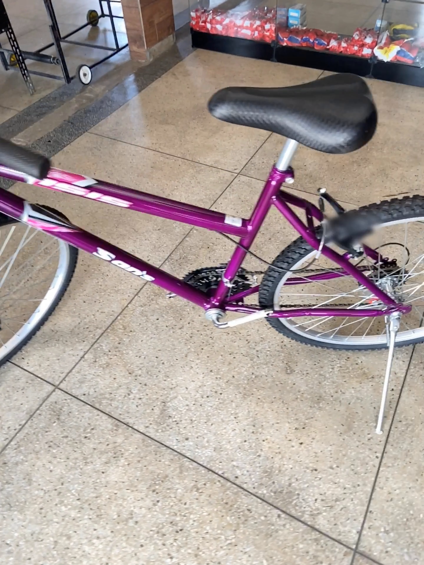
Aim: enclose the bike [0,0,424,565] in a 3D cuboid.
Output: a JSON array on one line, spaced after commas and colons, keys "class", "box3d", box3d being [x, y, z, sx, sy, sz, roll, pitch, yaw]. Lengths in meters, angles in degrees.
[{"class": "bike", "box3d": [-0.009, -0.030, 0.819, 1.522, 1.034, 0.576, -9, 48, -6]}]
